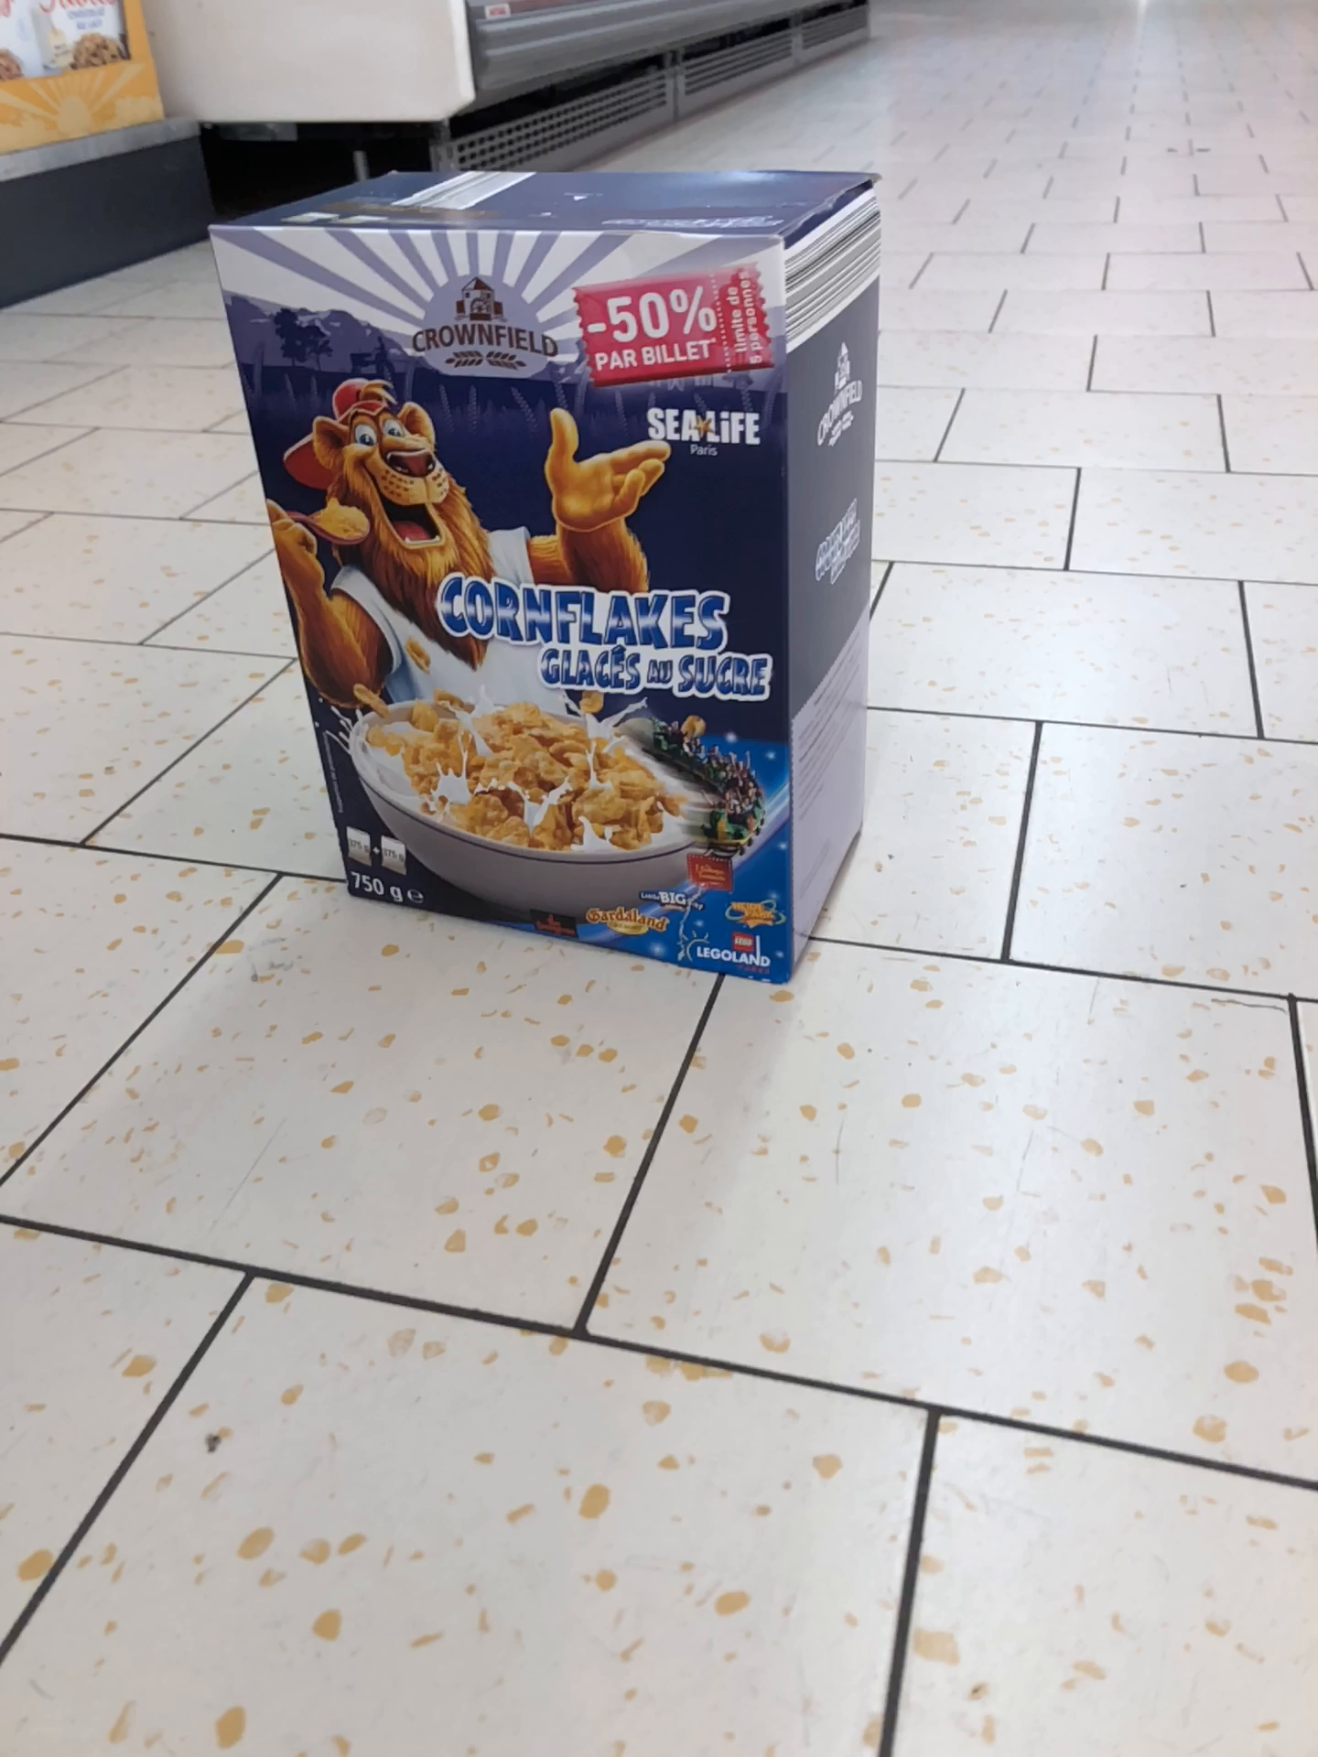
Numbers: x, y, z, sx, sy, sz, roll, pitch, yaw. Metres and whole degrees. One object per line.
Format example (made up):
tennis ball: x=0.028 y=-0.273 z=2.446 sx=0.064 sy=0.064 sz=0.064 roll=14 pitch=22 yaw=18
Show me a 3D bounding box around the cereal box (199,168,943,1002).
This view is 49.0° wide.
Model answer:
cereal box: x=-0.020 y=-0.116 z=0.545 sx=0.210 sy=0.258 sz=0.131 roll=11 pitch=34 yaw=21
